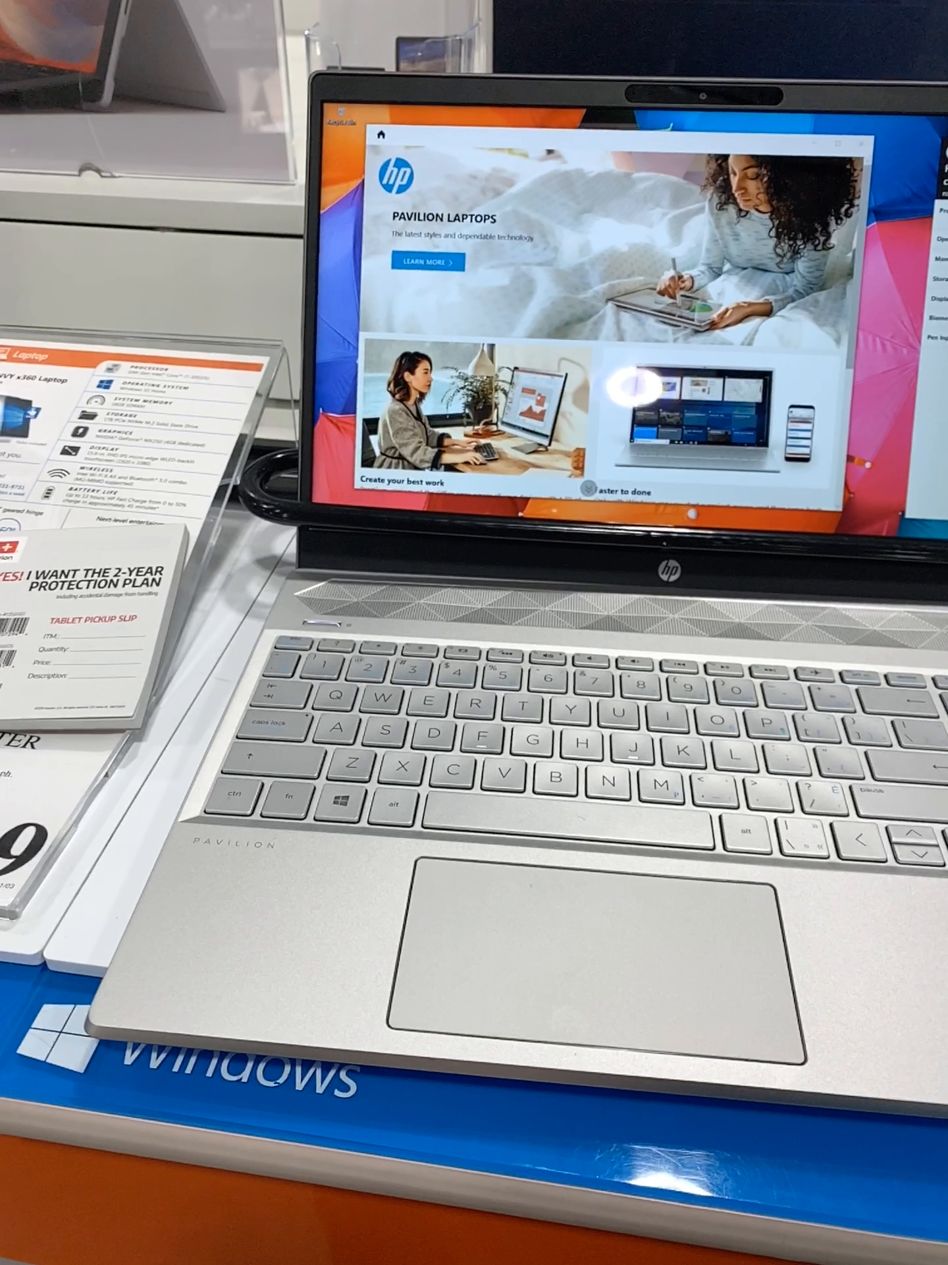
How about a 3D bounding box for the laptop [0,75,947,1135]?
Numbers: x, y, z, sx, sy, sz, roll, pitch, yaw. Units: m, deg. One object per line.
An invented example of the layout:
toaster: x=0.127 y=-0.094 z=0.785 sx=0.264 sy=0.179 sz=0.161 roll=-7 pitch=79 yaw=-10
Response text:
laptop: x=0.081 y=-0.059 z=0.325 sx=0.332 sy=0.175 sz=0.335 roll=3 pitch=37 yaw=4
